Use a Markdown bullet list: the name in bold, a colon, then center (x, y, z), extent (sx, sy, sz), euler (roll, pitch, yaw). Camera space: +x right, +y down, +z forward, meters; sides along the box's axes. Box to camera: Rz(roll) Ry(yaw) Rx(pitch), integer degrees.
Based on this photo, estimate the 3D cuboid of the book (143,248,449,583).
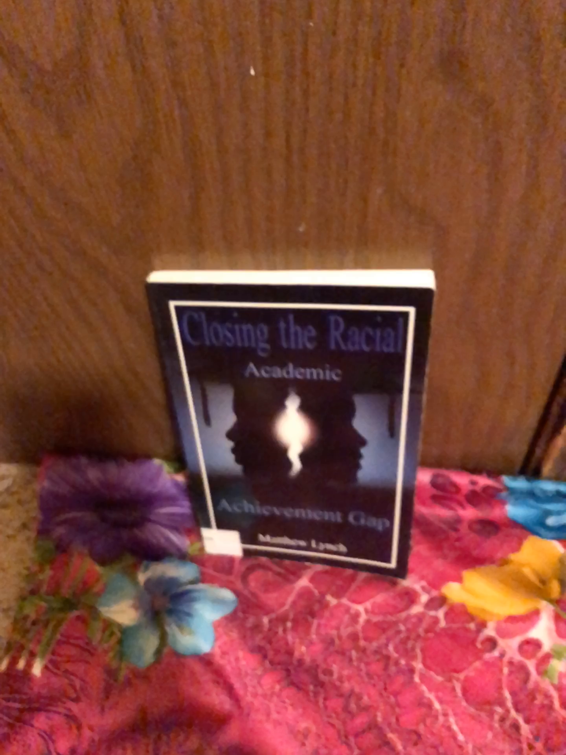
- **book**: center (0.013, 0.035, 0.385), extent (0.146, 0.230, 0.036), euler (3, 40, 9)
